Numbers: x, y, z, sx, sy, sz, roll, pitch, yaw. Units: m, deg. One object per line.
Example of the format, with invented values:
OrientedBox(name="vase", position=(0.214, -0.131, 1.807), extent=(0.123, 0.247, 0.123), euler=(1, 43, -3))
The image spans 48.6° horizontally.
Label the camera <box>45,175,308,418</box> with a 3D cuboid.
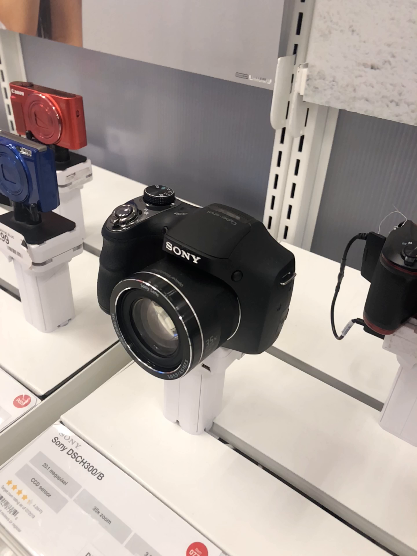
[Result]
OrientedBox(name="camera", position=(-0.019, 0.002, 0.281), extent=(0.119, 0.076, 0.087), euler=(24, 40, 26))
